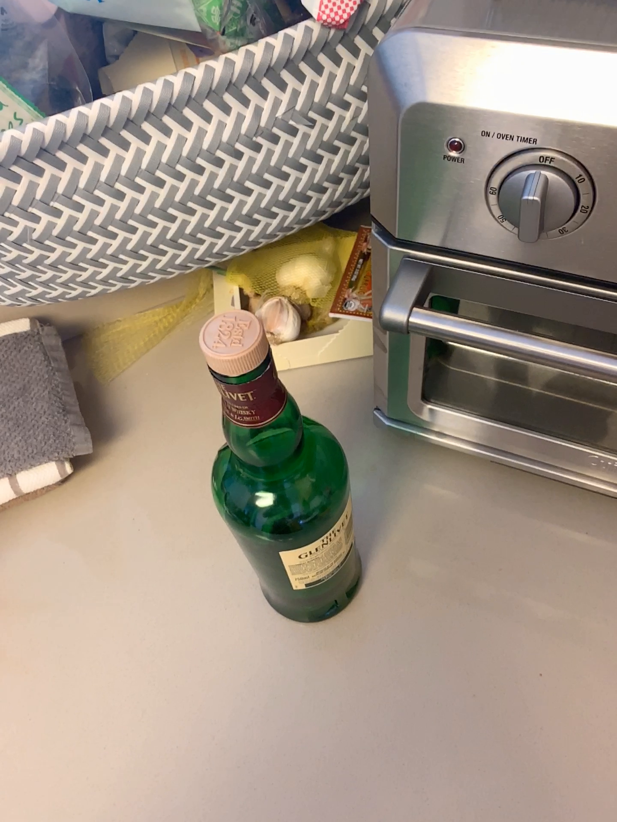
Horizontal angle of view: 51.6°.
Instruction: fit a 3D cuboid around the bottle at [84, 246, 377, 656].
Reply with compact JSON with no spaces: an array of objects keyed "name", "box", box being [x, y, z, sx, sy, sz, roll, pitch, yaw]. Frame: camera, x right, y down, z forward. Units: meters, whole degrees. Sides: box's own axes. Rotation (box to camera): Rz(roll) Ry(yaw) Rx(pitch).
[{"name":"bottle","box":[-0.020,0.050,0.372,0.080,0.279,0.080,-4,56,5]}]
